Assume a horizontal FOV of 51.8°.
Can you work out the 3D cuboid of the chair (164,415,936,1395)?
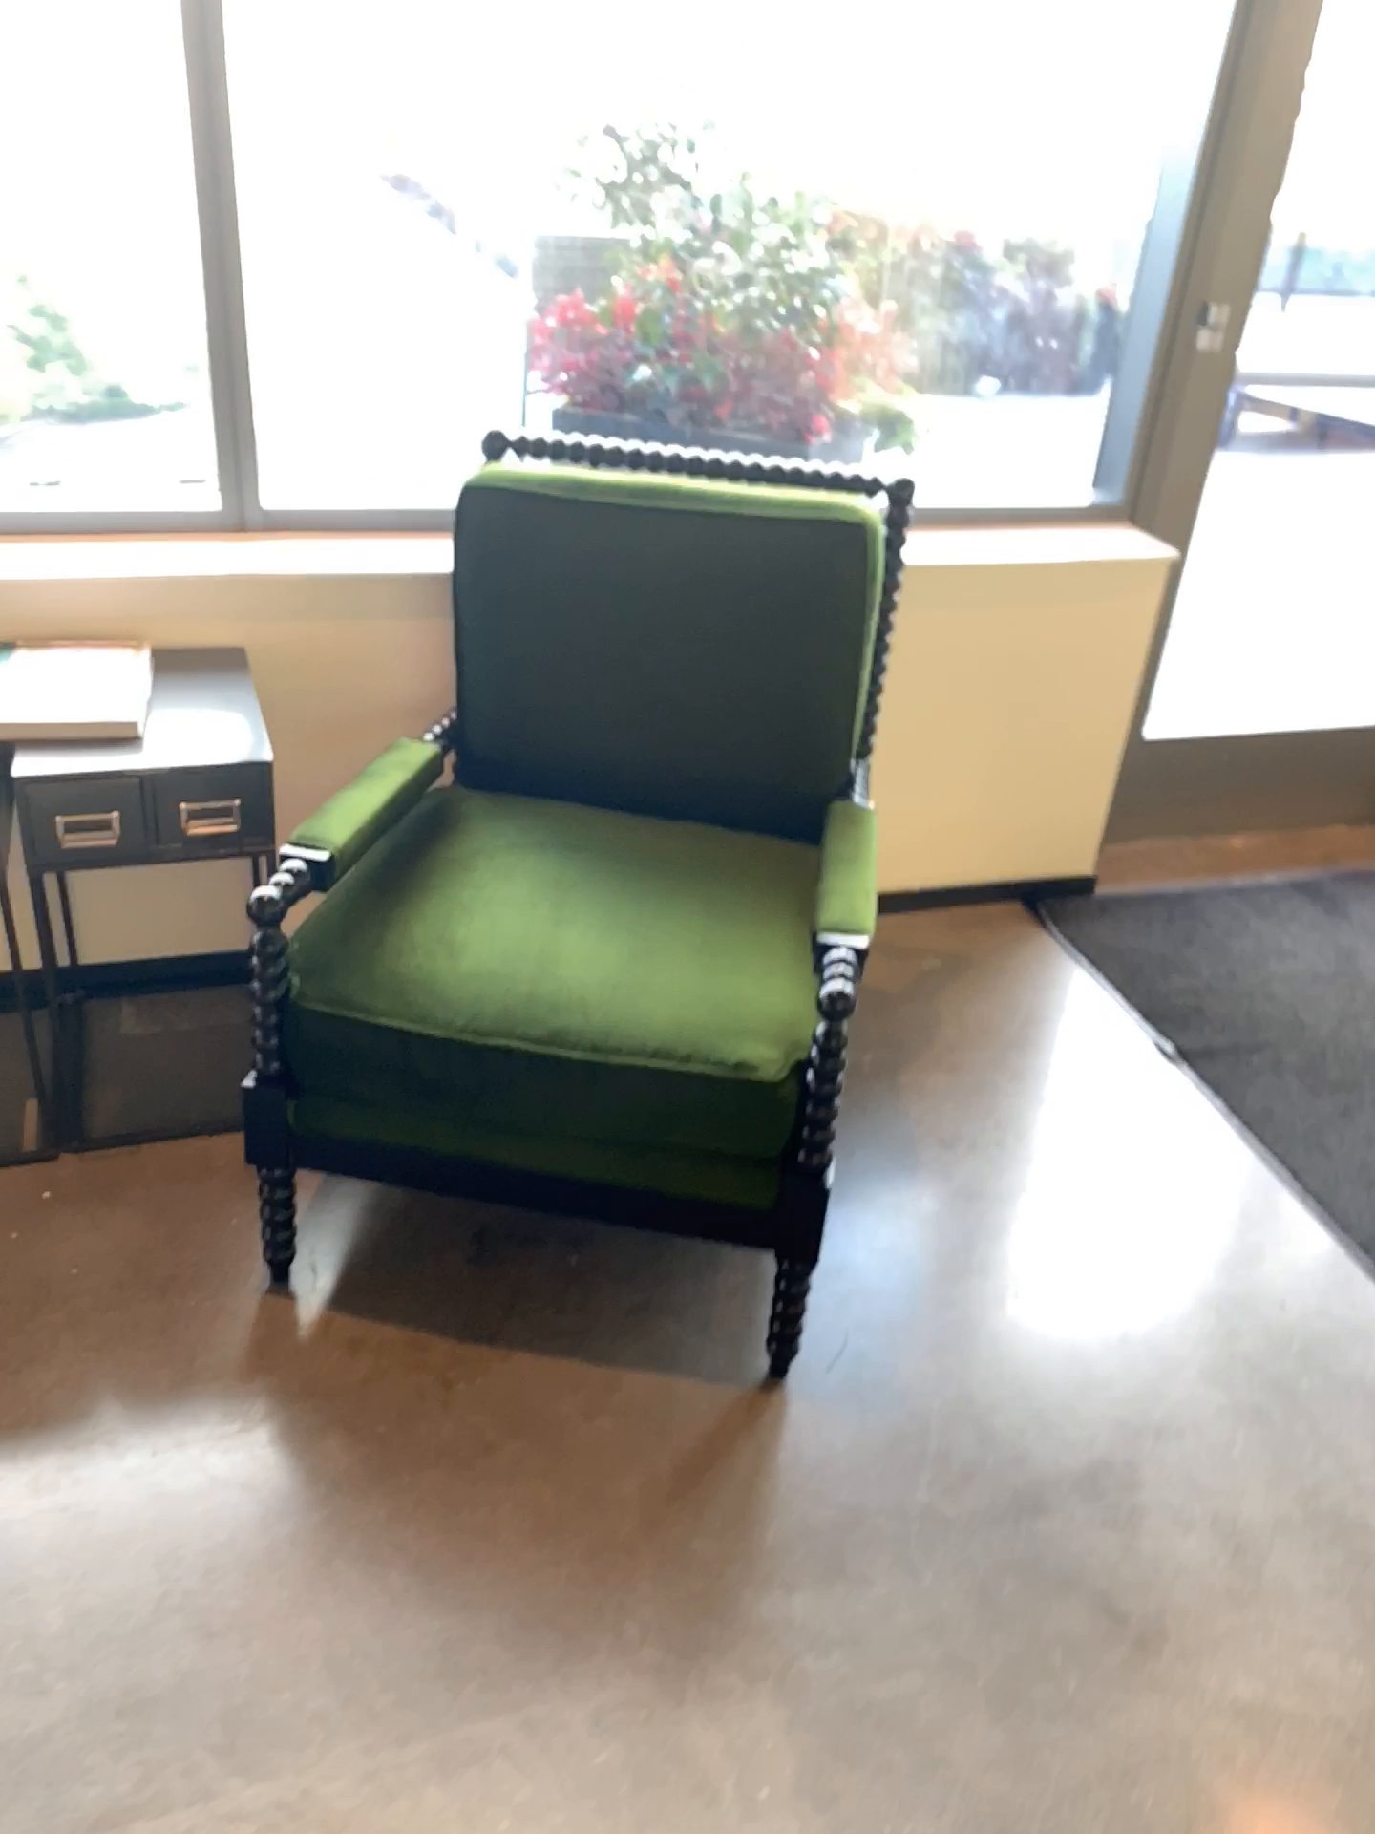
[{"bbox_3d":[-0.118,-0.084,2.051,0.760,0.984,0.926,9,31,7],"label":"chair"}]
